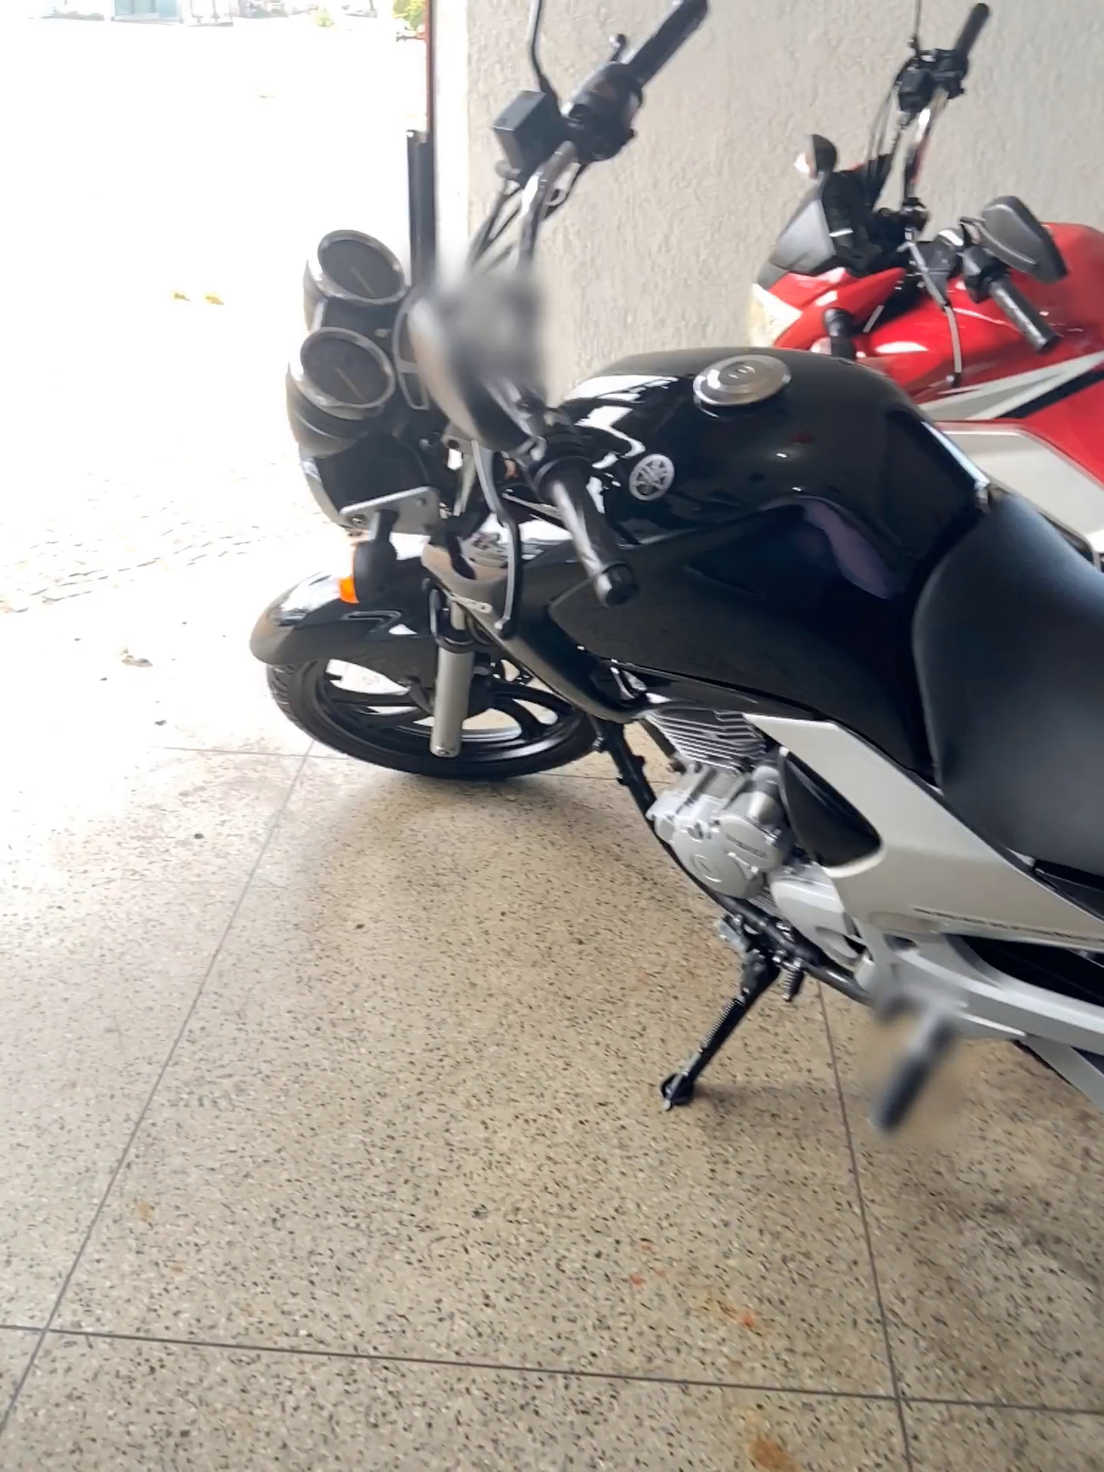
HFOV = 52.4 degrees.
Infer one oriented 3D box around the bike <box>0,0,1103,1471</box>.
[{"bbox_3d":[0.406,0.036,1.232,1.879,1.511,0.848,20,37,21],"label":"bike"}]
